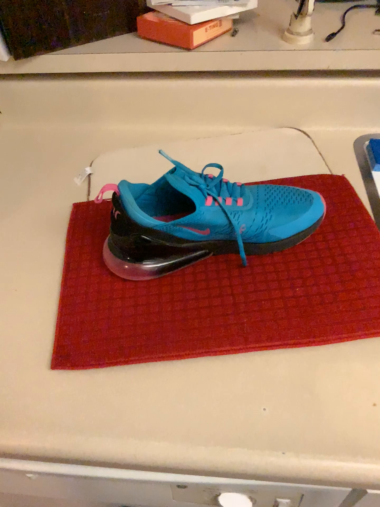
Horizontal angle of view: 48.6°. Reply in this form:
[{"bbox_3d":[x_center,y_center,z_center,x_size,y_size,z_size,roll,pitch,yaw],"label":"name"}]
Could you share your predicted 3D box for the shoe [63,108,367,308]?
[{"bbox_3d":[0.022,-0.064,0.546,0.330,0.130,0.150,-12,48,-7],"label":"shoe"}]
